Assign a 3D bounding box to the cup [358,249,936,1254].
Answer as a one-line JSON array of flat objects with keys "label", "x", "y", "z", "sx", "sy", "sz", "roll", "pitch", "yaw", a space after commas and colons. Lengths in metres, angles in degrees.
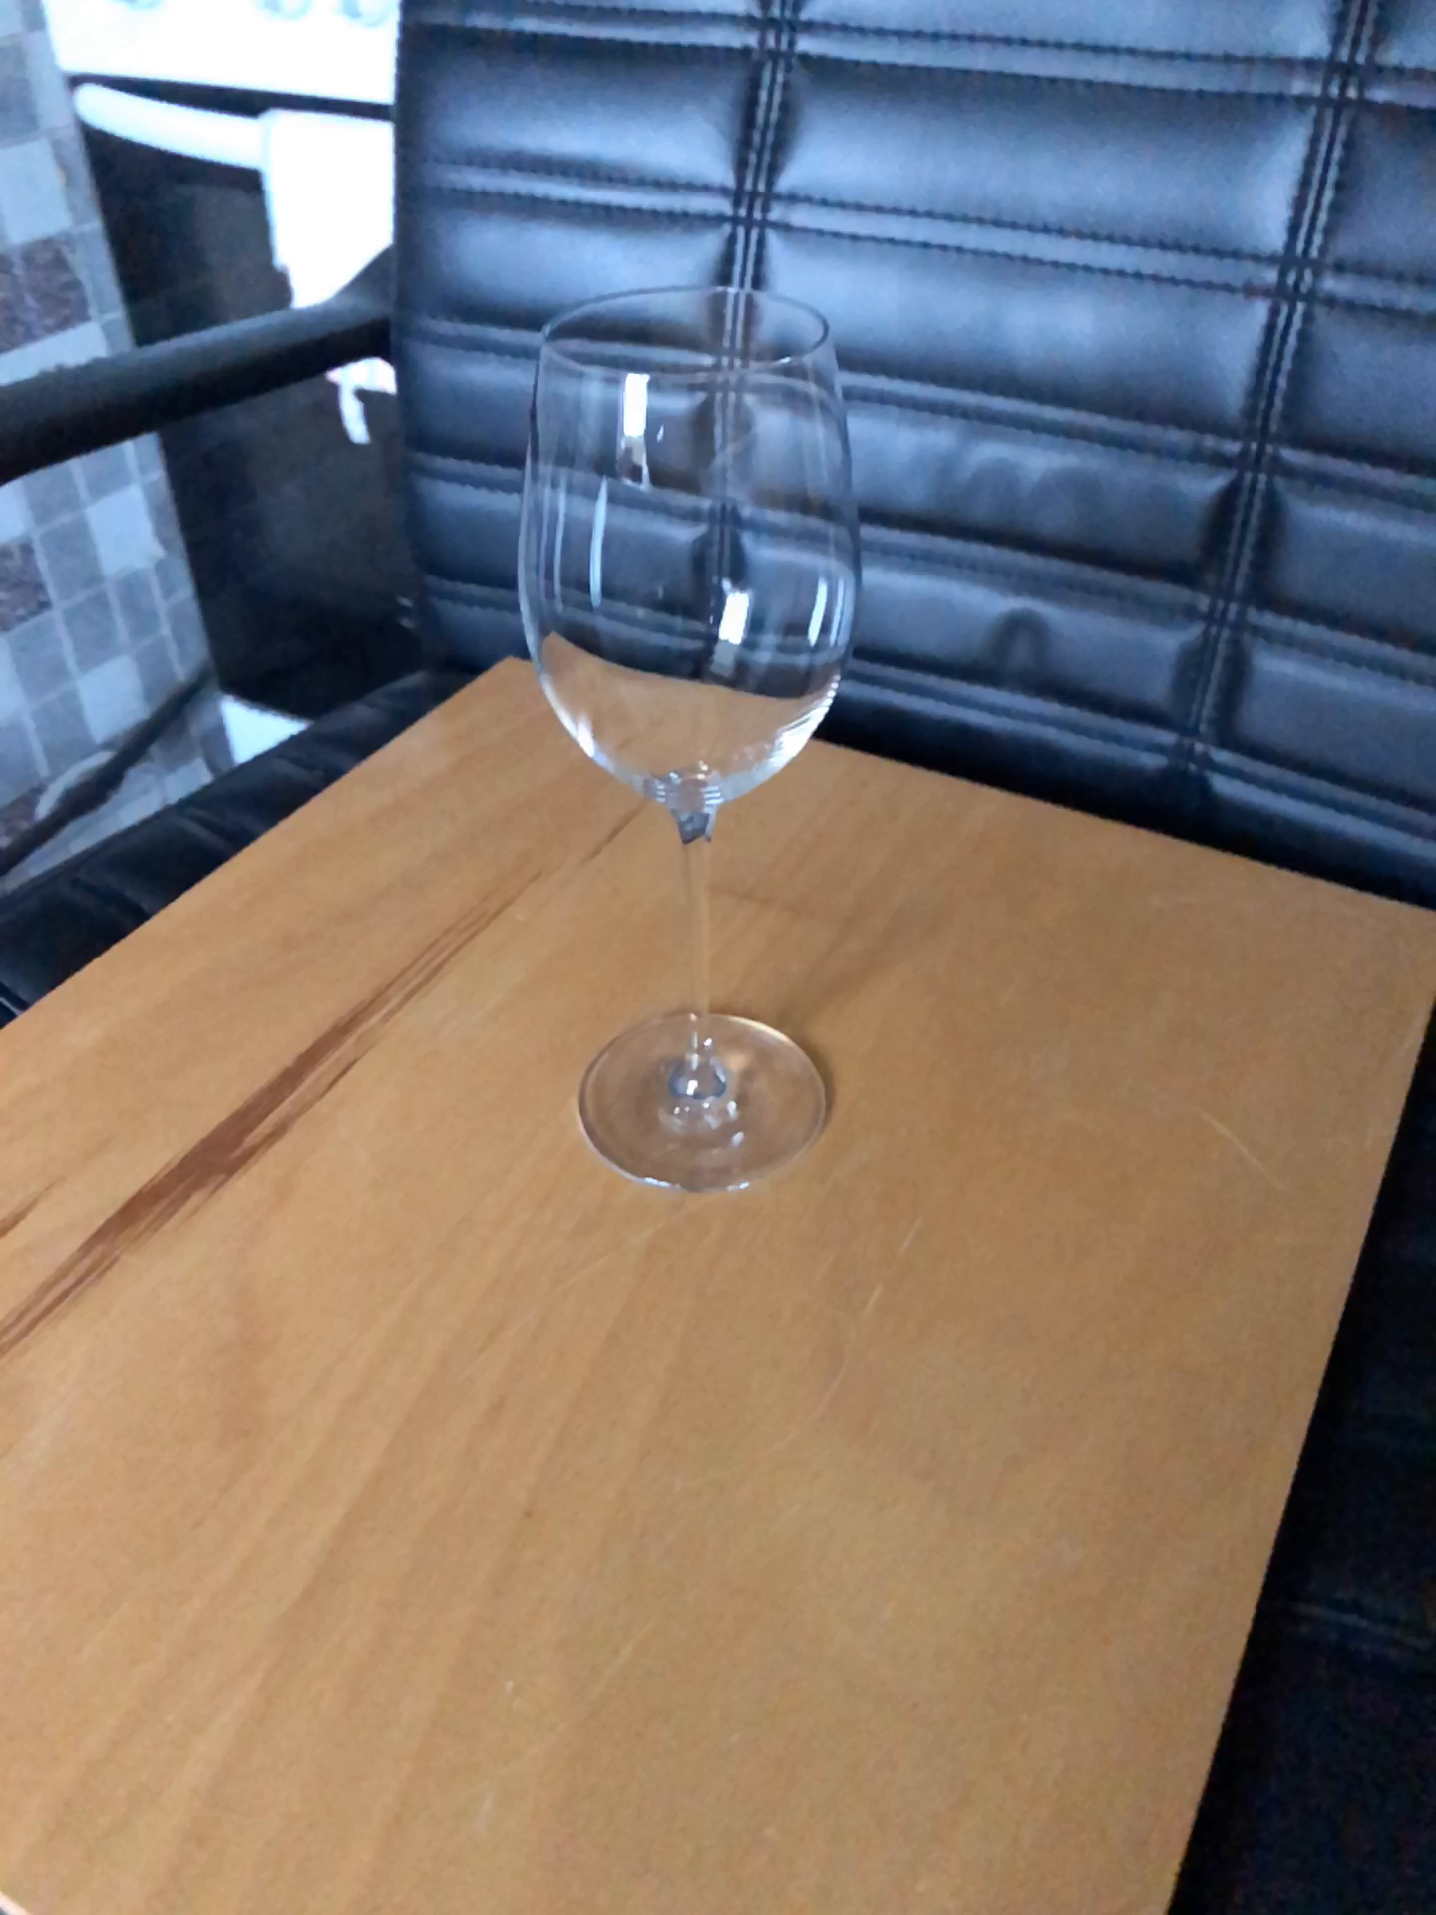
[{"label": "cup", "x": -0.015, "y": -0.045, "z": 0.398, "sx": 0.089, "sy": 0.218, "sz": 0.090, "roll": -1, "pitch": 39, "yaw": 1}]
